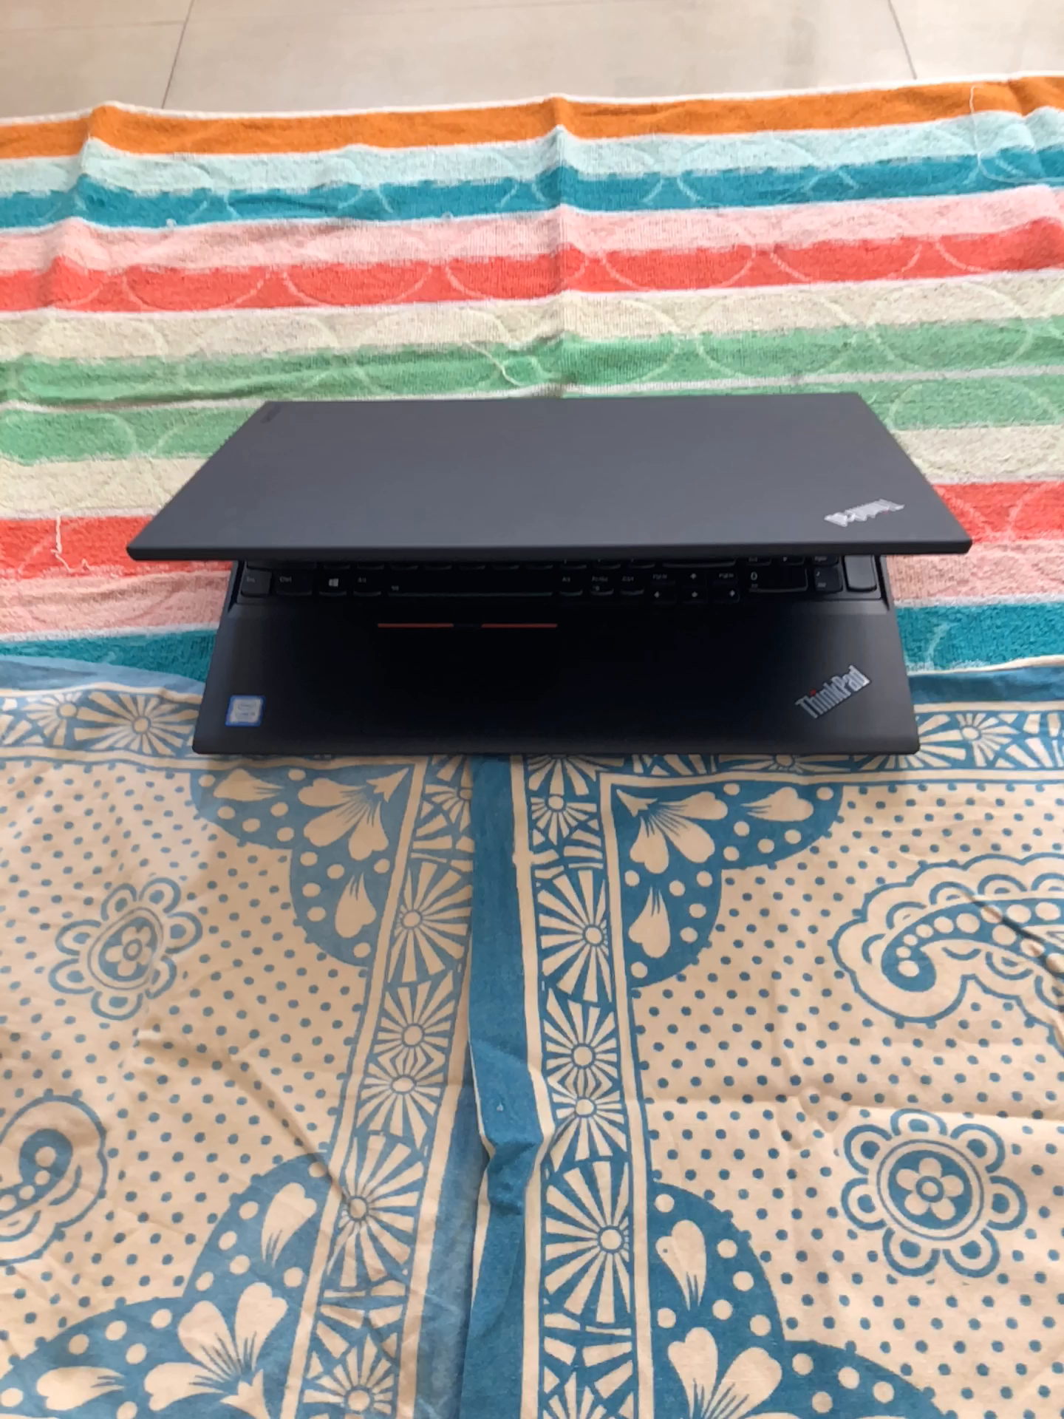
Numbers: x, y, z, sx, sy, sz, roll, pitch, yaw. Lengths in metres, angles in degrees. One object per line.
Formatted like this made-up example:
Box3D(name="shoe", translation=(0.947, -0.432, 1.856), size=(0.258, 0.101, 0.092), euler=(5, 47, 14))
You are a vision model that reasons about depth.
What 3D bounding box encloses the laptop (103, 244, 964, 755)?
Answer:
Box3D(name="laptop", translation=(0.008, -0.110, 0.591), size=(0.345, 0.121, 0.244), euler=(0, 55, 1))
